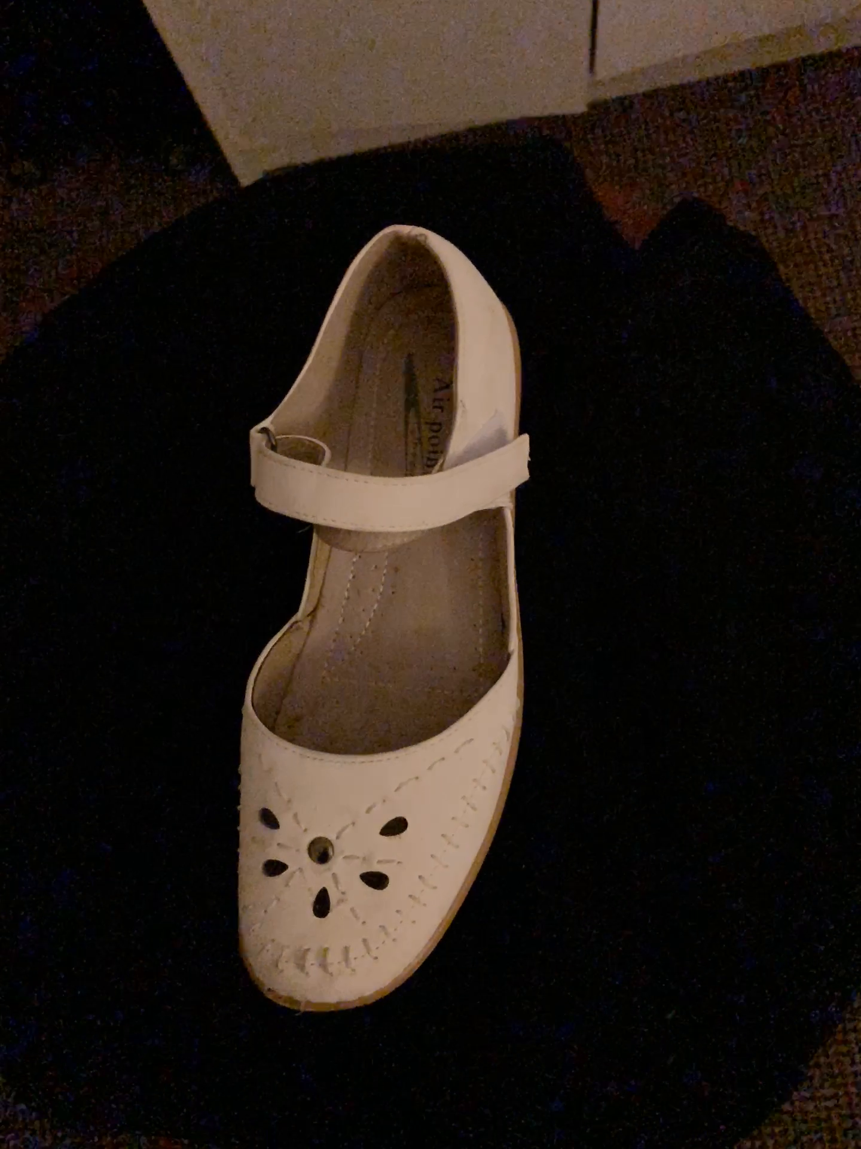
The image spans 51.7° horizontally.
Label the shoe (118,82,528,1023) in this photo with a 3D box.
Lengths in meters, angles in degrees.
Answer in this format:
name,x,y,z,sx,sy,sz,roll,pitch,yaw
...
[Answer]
name,x,y,z,sx,sy,sz,roll,pitch,yaw
shoe,-0.020,-0.012,0.301,0.097,0.100,0.271,0,76,8
